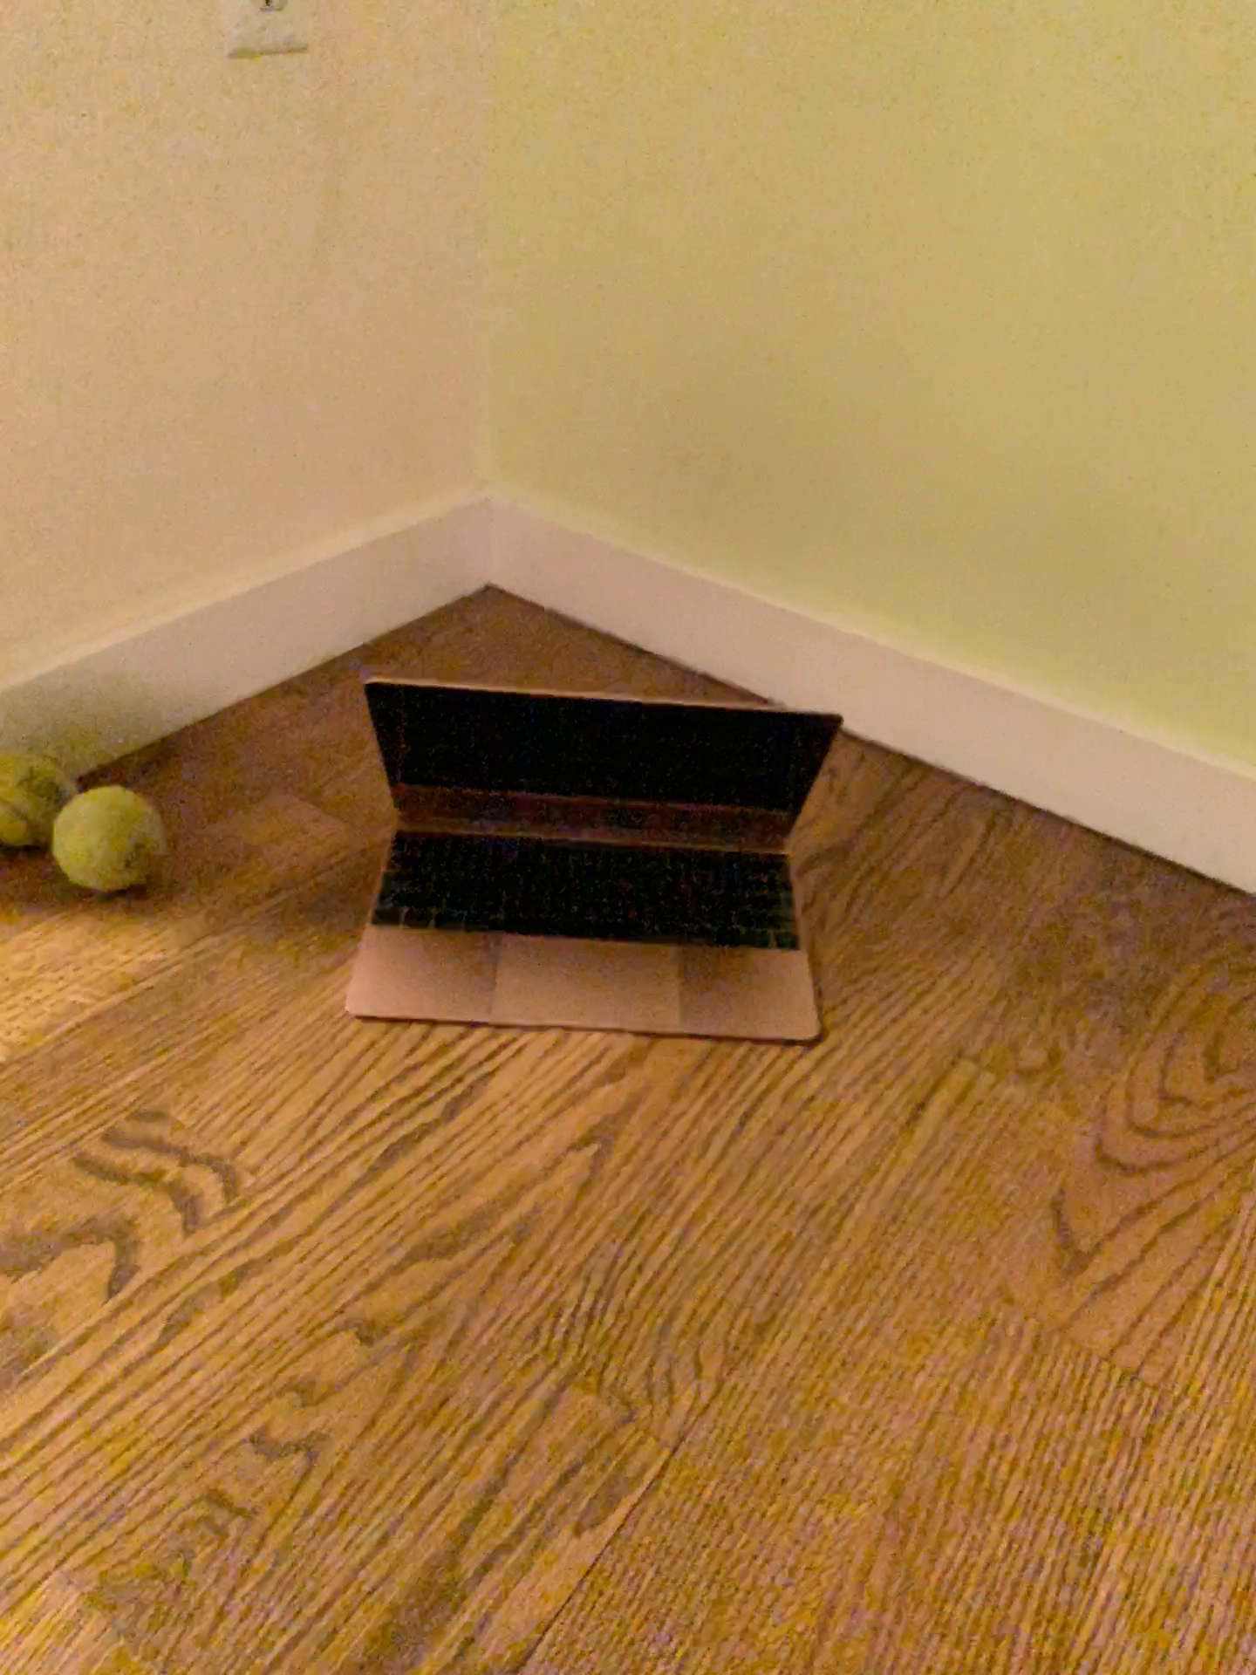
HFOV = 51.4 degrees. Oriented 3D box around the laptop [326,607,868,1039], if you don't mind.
[{"bbox_3d":[-0.021,-0.014,0.824,0.288,0.168,0.207,4,36,-3],"label":"laptop"}]
